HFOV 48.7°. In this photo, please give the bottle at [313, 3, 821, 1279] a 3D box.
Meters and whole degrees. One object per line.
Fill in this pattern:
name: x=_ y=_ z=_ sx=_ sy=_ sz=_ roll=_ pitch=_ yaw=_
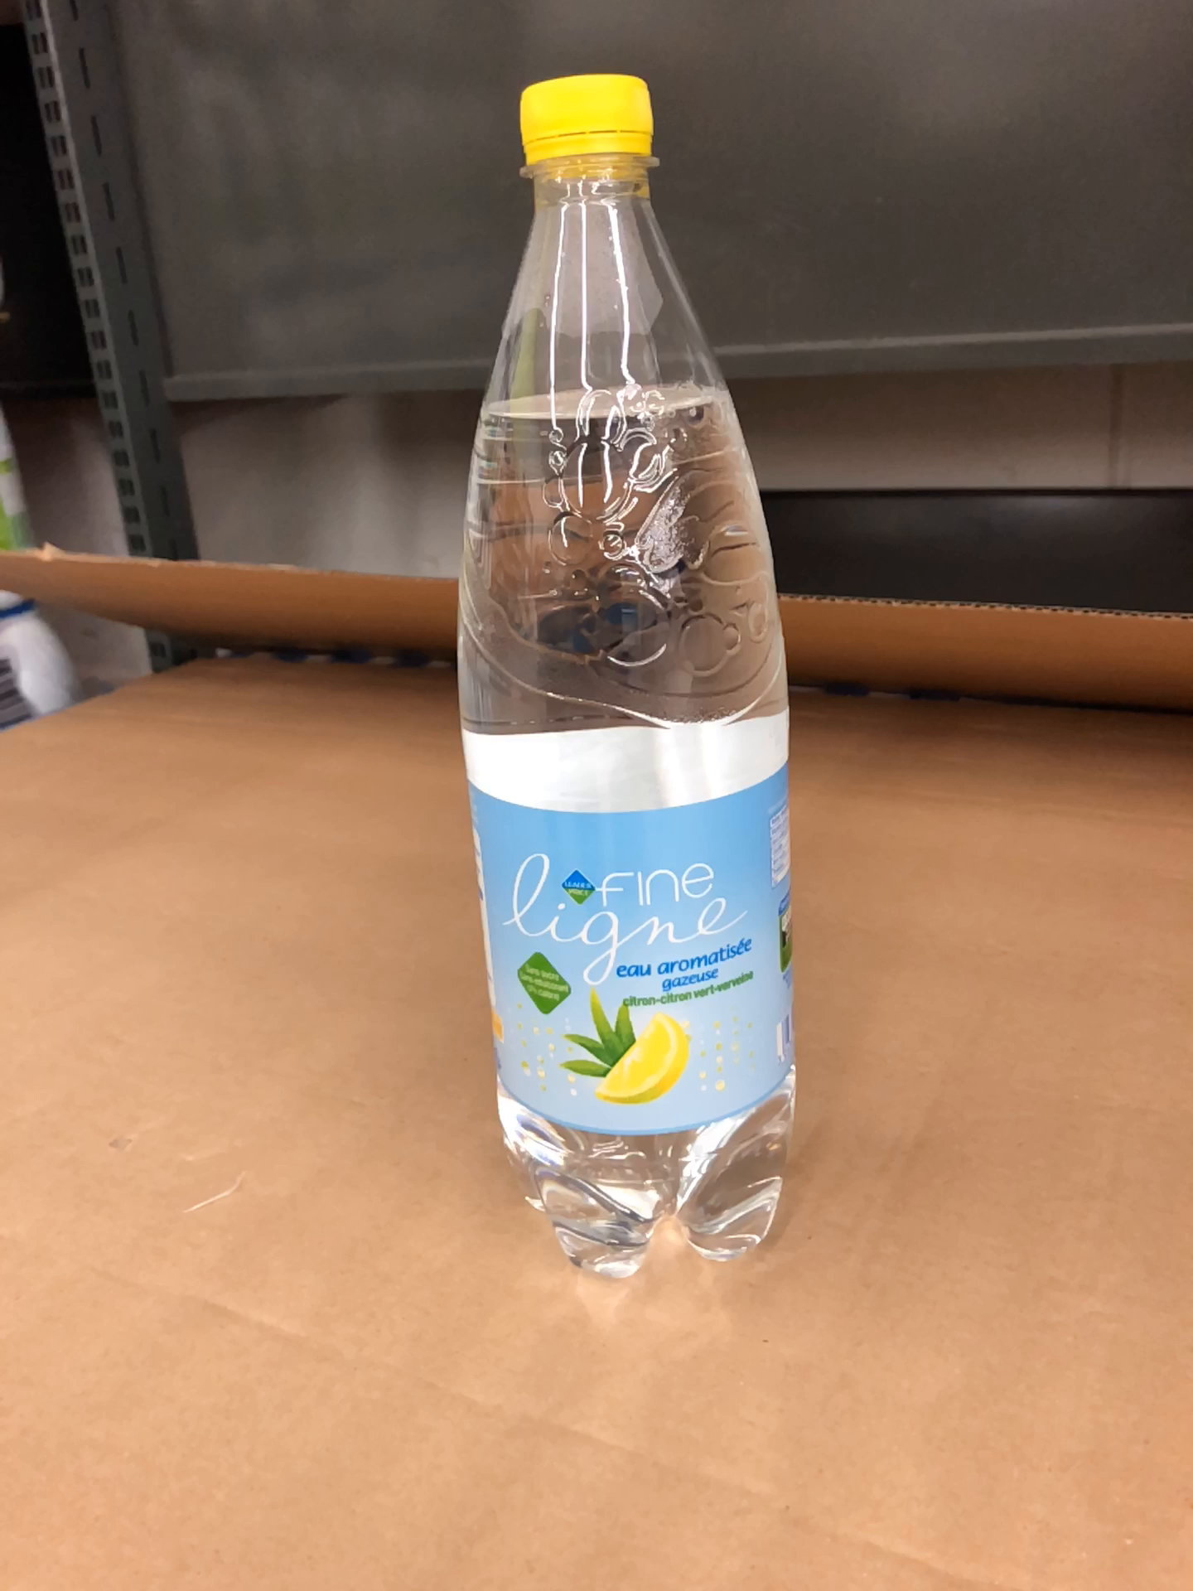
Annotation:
bottle: x=0.005 y=-0.023 z=0.334 sx=0.090 sy=0.289 sz=0.080 roll=-3 pitch=20 yaw=6
